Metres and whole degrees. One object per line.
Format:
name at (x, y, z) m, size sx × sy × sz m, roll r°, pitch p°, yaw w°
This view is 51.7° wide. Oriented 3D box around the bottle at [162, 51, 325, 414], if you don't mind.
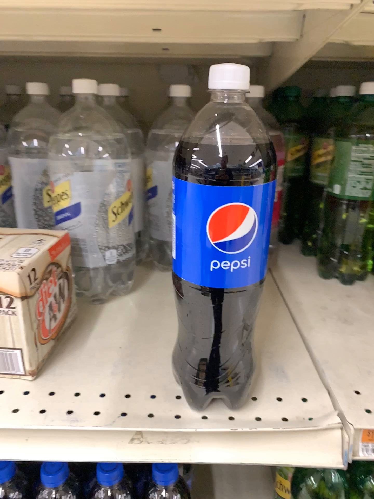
bottle at (0.031, -0.006, 0.327) m, size 0.101 × 0.279 × 0.090 m, roll 0°, pitch 20°, yaw -2°
